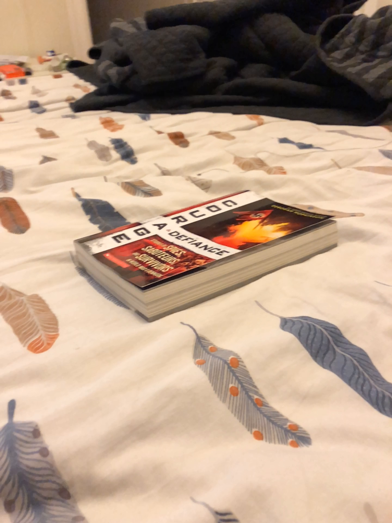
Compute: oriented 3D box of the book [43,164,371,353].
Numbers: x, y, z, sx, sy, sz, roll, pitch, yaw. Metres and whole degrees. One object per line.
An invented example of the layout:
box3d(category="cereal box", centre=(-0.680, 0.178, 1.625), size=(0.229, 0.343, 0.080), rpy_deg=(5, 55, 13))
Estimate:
box3d(category="book", centre=(0.007, -0.029, 0.408), size=(0.231, 0.020, 0.201), rpy_deg=(-24, 38, -30))
